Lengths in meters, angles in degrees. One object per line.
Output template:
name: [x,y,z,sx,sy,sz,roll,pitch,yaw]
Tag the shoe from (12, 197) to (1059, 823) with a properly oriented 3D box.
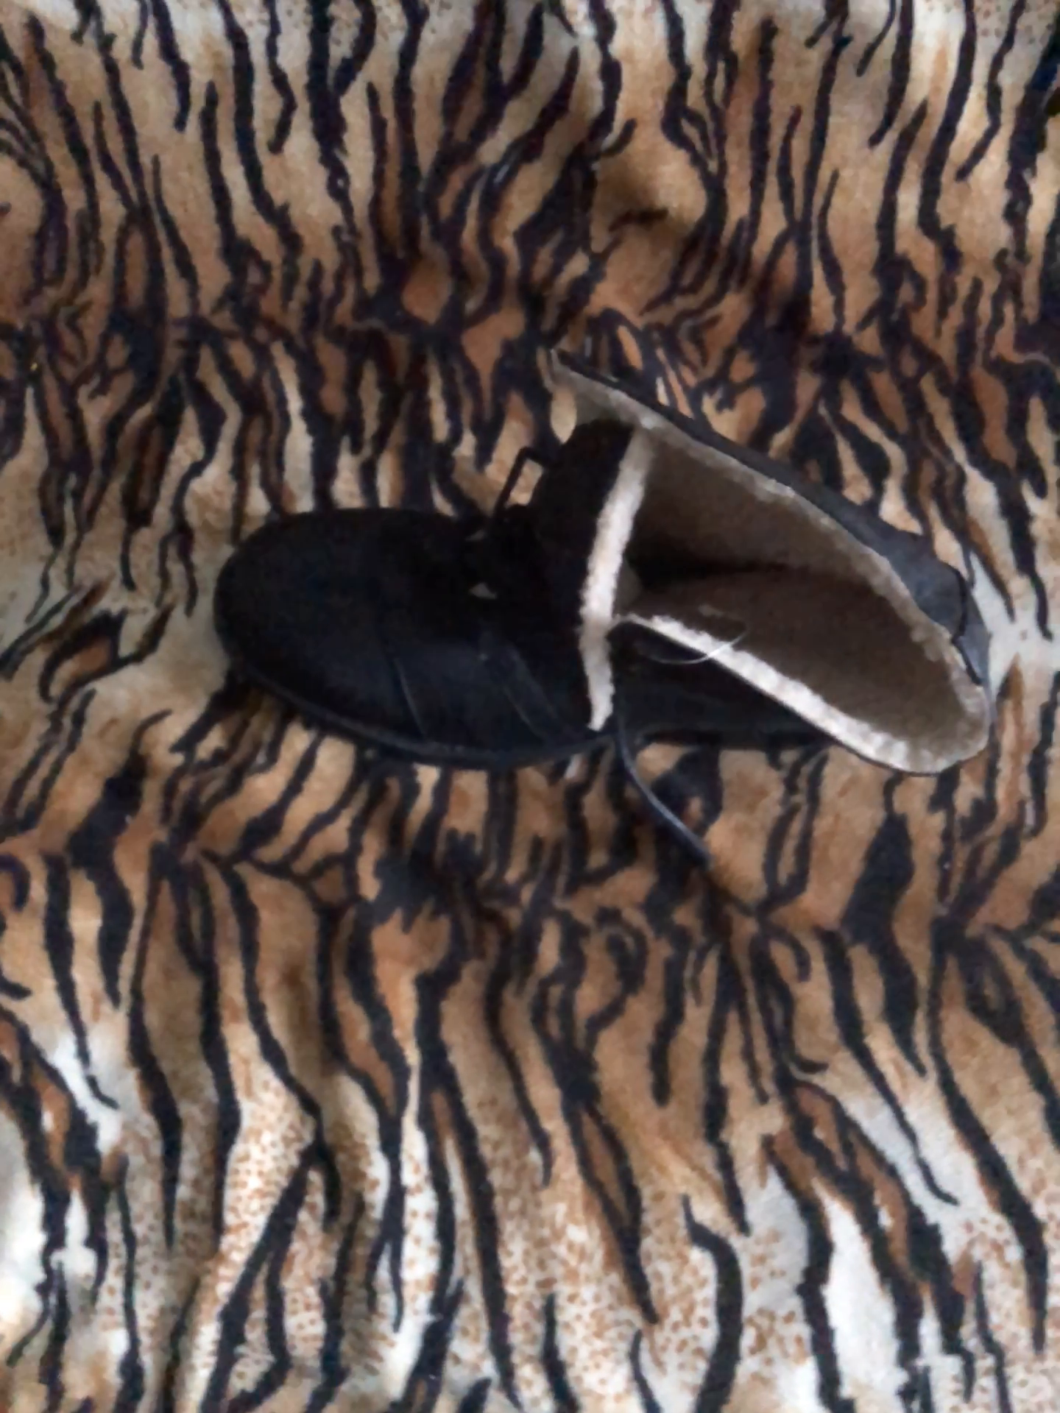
shoe: [0.013,-0.066,0.477,0.330,0.200,0.140,6,69,6]
